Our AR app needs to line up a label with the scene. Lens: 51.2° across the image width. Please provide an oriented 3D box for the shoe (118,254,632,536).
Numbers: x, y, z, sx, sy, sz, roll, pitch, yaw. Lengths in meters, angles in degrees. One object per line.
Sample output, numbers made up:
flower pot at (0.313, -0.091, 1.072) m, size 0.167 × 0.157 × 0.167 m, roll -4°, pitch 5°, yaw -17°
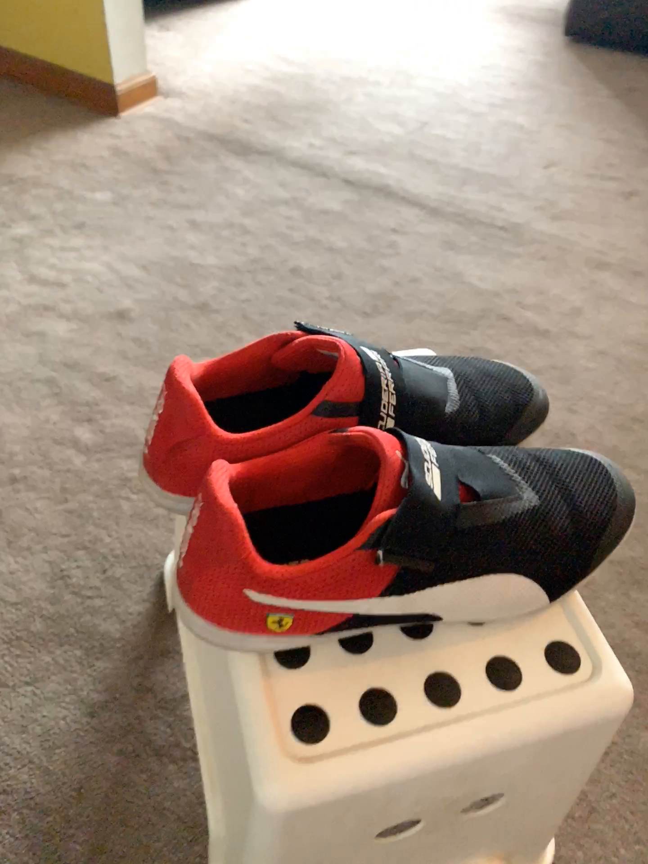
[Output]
shoe at (0.030, -0.034, 0.449) m, size 0.301 × 0.089 × 0.111 m, roll -11°, pitch 48°, yaw -16°

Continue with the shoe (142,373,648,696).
shoe at (0.059, 0.050, 0.387) m, size 0.300 × 0.089 × 0.101 m, roll -8°, pitch 48°, yaw -14°
